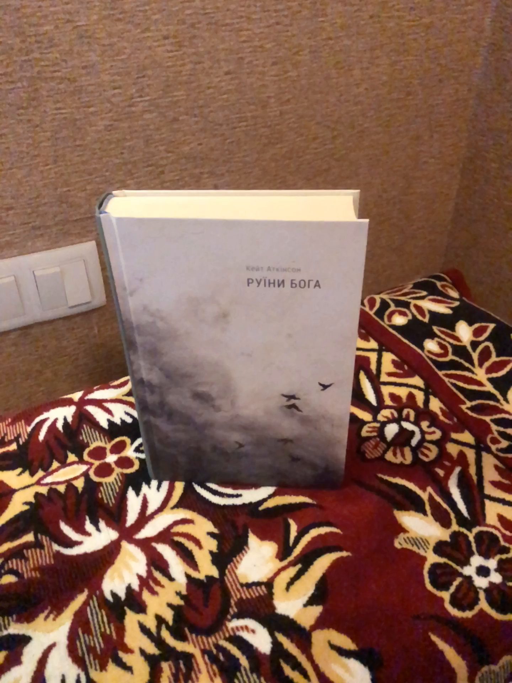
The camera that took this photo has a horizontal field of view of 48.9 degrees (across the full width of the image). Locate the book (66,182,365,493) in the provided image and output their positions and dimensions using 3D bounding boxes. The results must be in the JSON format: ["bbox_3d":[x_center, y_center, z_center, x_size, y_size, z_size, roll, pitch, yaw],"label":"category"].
[{"bbox_3d":[-0.018,0.008,0.351,0.145,0.200,0.048,2,38,4],"label":"book"}]
